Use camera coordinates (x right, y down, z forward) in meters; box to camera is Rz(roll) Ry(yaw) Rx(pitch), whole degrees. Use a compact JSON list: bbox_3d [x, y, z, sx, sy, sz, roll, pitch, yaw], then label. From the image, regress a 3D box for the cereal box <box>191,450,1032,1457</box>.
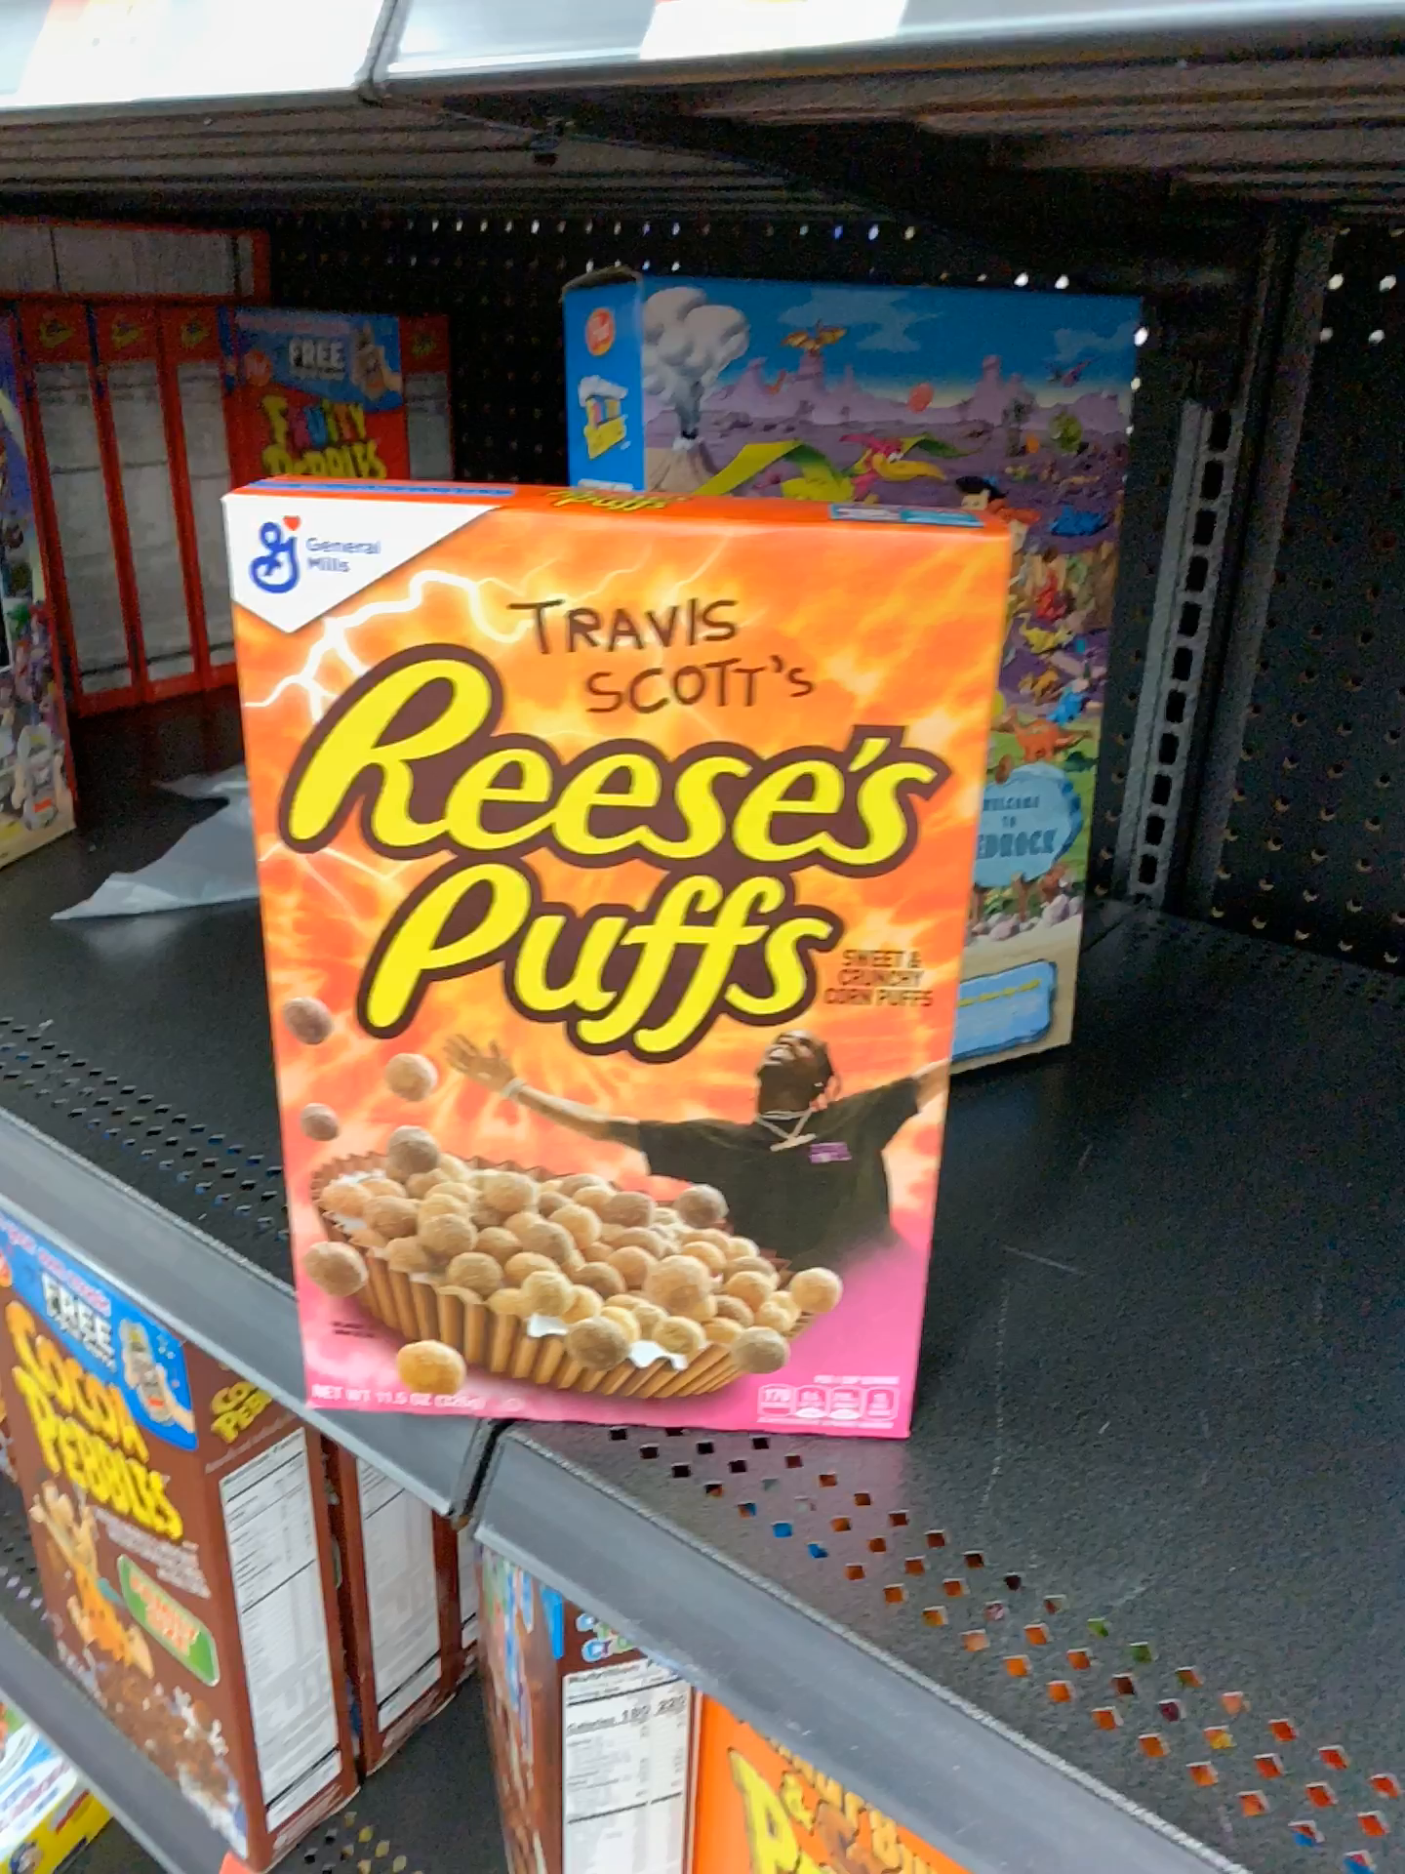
[{"bbox_3d":[-0.025,0.015,0.422,0.200,0.289,0.050,2,23,2],"label":"cereal box"}]
